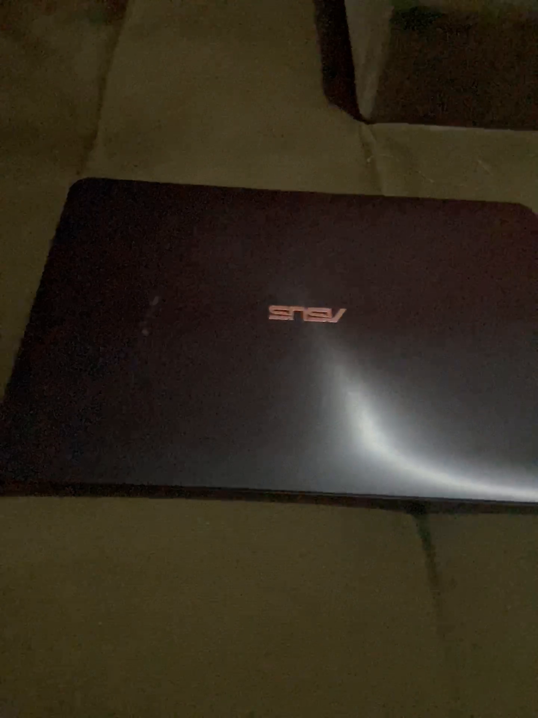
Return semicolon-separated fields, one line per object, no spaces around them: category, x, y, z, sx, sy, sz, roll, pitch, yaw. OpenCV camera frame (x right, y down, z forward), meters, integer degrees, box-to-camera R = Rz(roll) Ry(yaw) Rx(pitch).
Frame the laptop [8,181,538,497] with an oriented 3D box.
laptop;0.035;-0.029;0.386;0.369;0.004;0.235;3;60;-1
